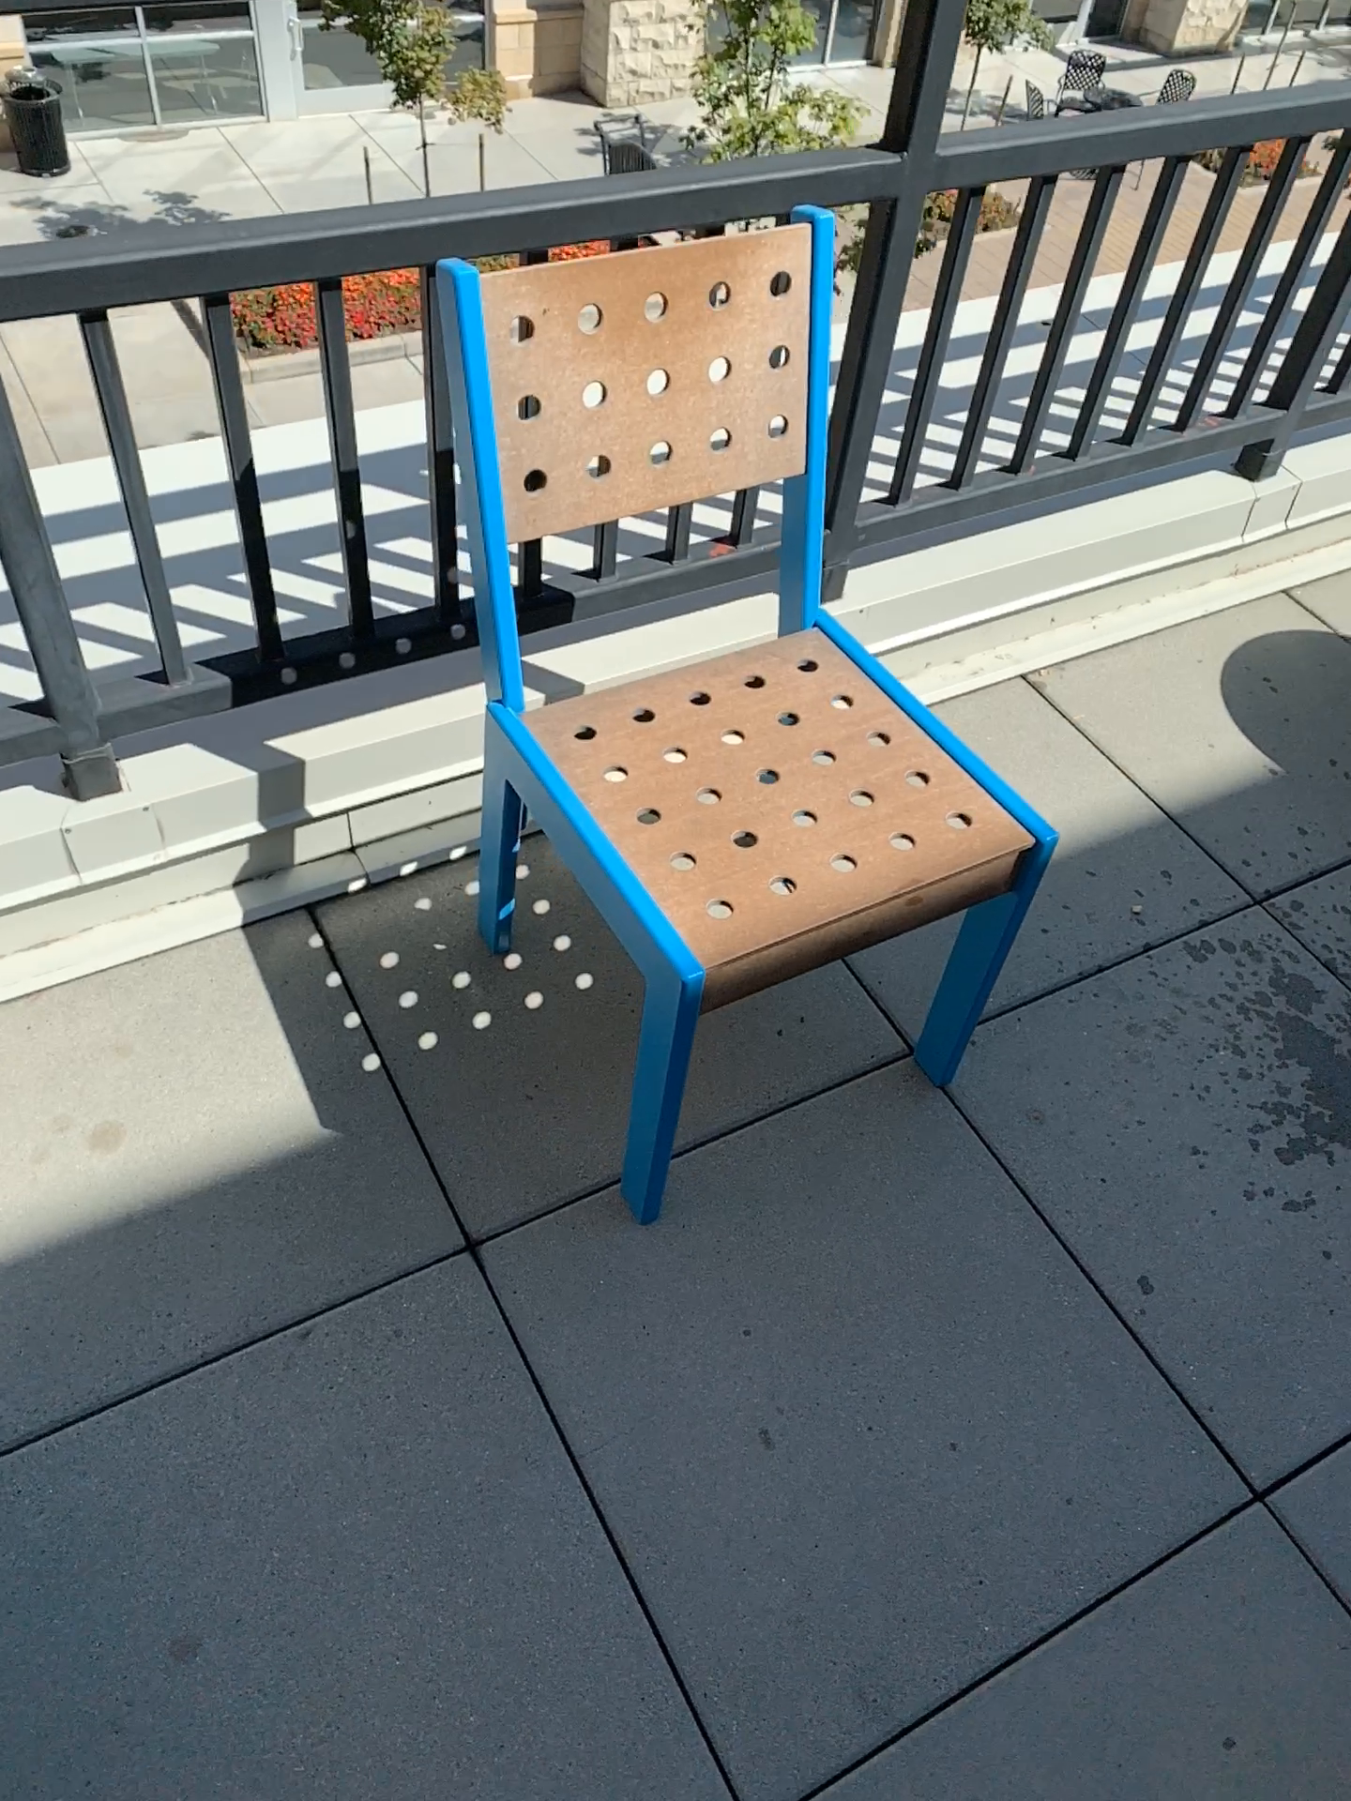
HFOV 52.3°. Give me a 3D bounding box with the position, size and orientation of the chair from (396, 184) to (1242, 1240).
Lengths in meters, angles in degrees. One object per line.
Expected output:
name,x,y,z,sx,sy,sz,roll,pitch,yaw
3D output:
chair,0.061,-0.198,1.541,0.471,0.856,0.672,-20,53,-23
